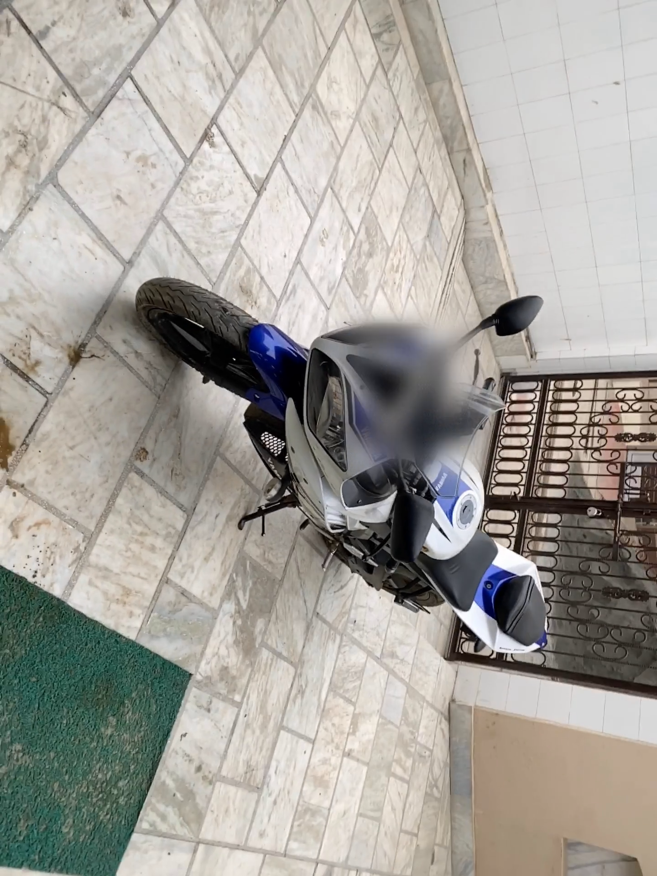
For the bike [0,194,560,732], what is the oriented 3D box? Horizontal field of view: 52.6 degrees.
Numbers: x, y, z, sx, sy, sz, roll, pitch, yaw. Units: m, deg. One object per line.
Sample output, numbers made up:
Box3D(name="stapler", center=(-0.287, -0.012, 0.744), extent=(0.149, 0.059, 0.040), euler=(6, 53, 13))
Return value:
Box3D(name="bike", center=(0.036, 0.252, 2.274), extent=(1.891, 0.902, 0.734), euler=(51, 48, -42))
